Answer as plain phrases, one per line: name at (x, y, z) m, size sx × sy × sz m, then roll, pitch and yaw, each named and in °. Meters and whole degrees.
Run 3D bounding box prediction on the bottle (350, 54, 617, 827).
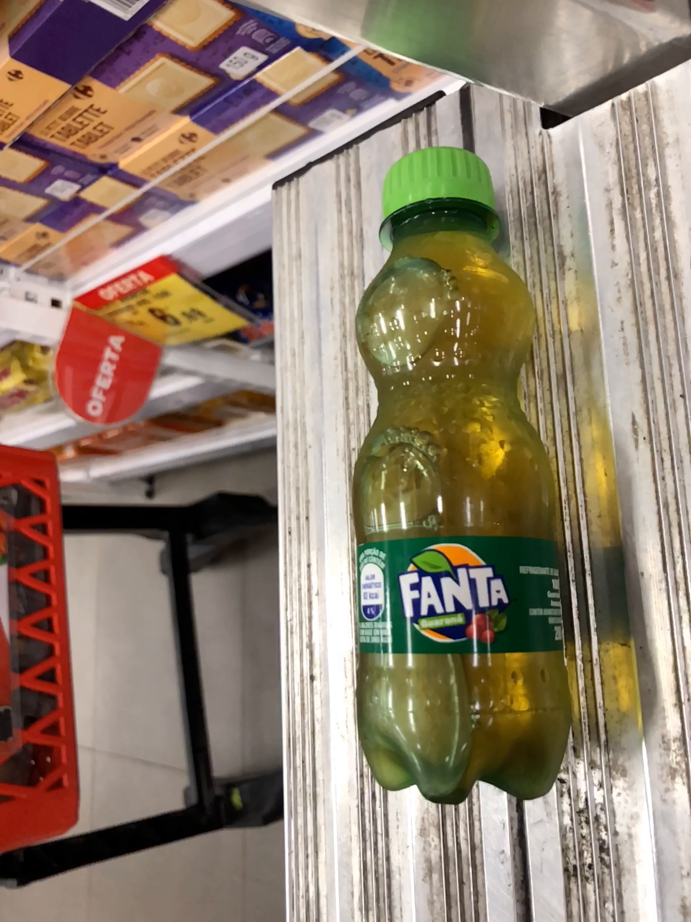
bottle at (0.028, -0.008, 0.191) m, size 0.050 × 0.050 × 0.170 m, roll 98°, pitch 173°, yaw -78°
